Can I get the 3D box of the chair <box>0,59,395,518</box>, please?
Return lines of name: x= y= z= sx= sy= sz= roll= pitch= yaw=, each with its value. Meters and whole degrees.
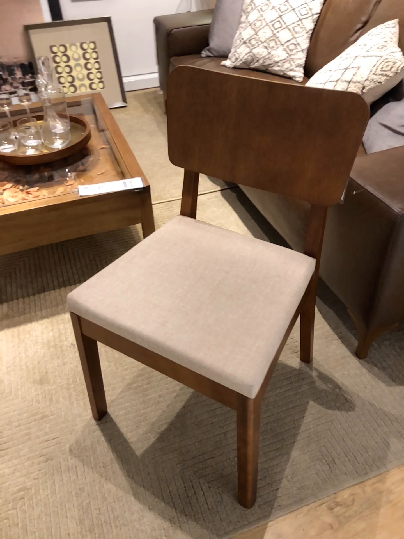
chair: x=0.025 y=0.035 z=1.037 sx=0.511 sy=0.794 sz=0.533 roll=20 pitch=45 yaw=24
